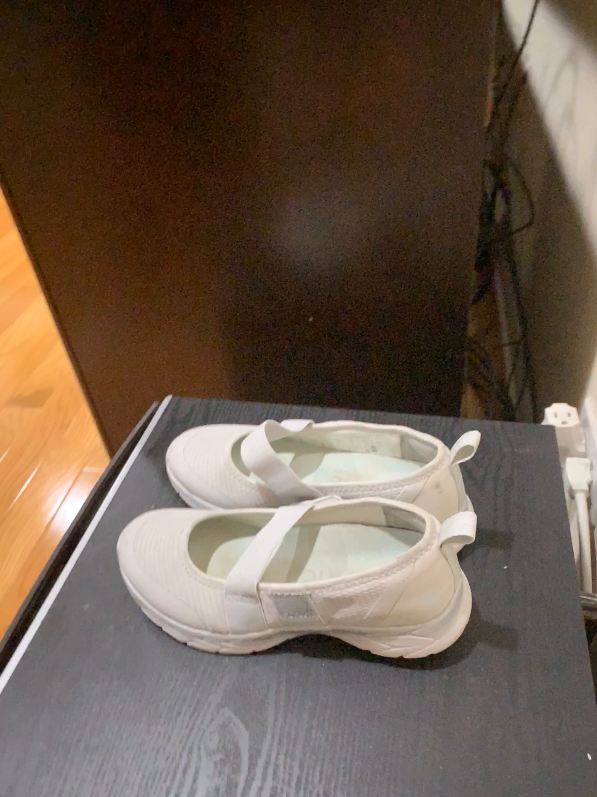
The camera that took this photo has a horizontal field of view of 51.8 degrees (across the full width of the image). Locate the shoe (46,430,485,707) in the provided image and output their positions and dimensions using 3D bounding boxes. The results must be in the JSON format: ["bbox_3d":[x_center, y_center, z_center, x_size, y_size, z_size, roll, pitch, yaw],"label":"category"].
[{"bbox_3d":[-0.013,0.102,0.402,0.249,0.093,0.103,5,41,15],"label":"shoe"}]

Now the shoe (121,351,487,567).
[{"bbox_3d":[0.010,0.040,0.474,0.249,0.093,0.103,5,41,15],"label":"shoe"}]
